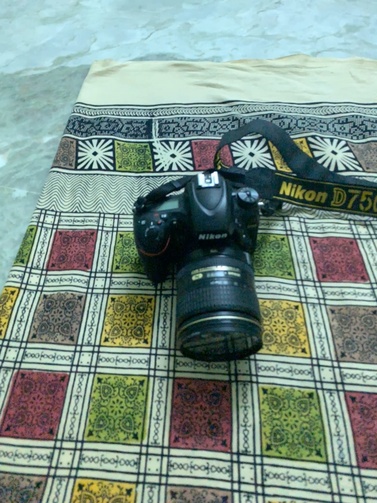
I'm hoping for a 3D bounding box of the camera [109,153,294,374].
[{"bbox_3d":[0.009,0.008,0.384,0.140,0.100,0.190,-4,53,2],"label":"camera"}]
